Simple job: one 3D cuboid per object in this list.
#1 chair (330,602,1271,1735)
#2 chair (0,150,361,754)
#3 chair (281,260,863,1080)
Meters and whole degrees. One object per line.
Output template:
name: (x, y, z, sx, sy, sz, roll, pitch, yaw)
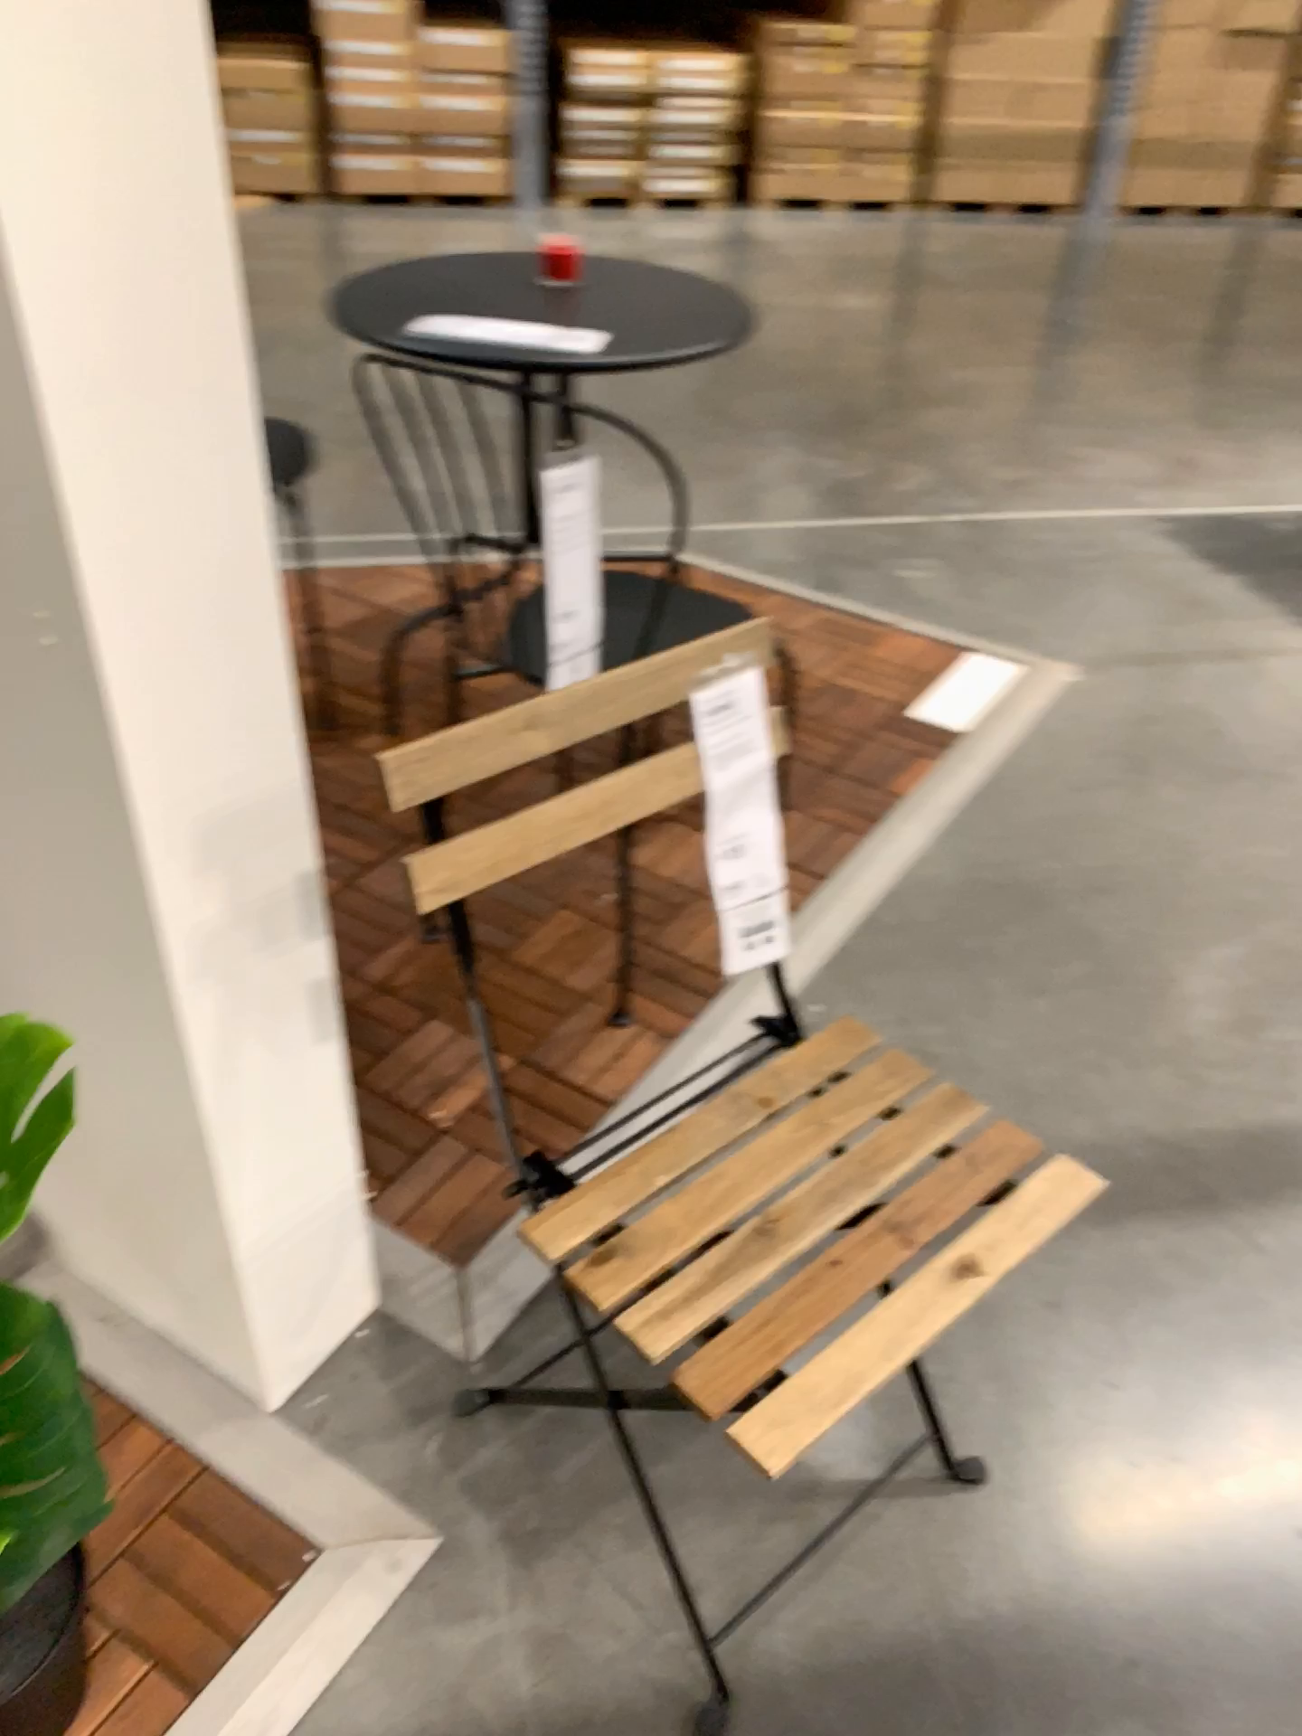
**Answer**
chair: (0.073, 0.250, 1.106, 0.409, 0.721, 0.477, -25, 44, -34)
chair: (-0.804, -0.670, 2.192, 0.547, 0.831, 0.380, -8, 37, -15)
chair: (-0.083, -0.267, 1.737, 0.399, 0.821, 0.558, 22, 40, 25)
